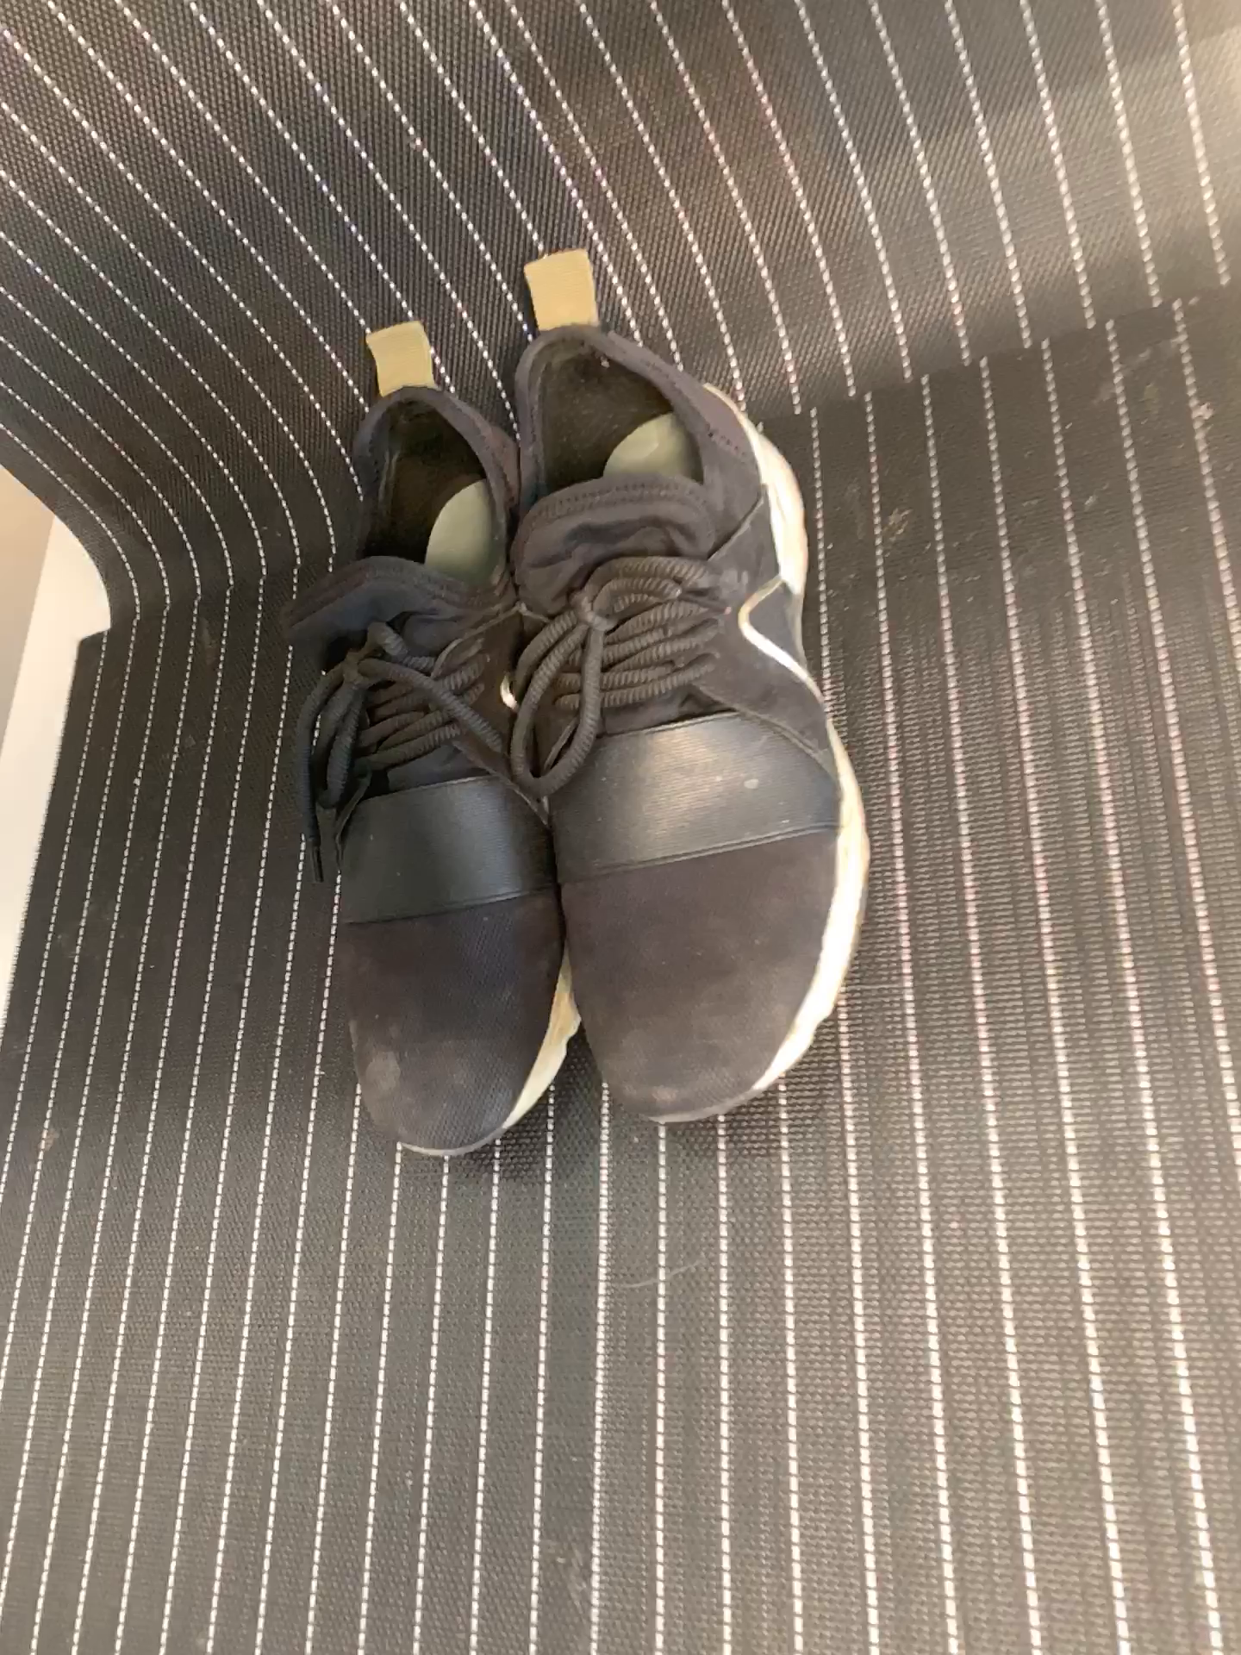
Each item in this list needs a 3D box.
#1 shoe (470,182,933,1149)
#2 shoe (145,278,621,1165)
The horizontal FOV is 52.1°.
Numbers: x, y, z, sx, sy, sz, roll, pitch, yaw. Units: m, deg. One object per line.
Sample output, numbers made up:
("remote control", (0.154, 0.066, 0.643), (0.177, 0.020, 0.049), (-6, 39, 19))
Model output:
("shoe", (0.019, -0.051, 0.406), (0.100, 0.090, 0.280), (-14, 64, 24))
("shoe", (-0.069, -0.034, 0.431), (0.100, 0.080, 0.280), (-8, 67, 27))
